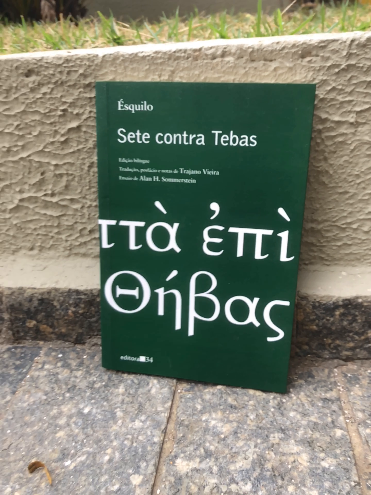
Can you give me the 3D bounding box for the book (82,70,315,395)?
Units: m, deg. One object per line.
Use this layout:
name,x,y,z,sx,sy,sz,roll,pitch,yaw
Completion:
book,0.005,-0.007,0.272,0.140,0.196,0.020,3,12,13
